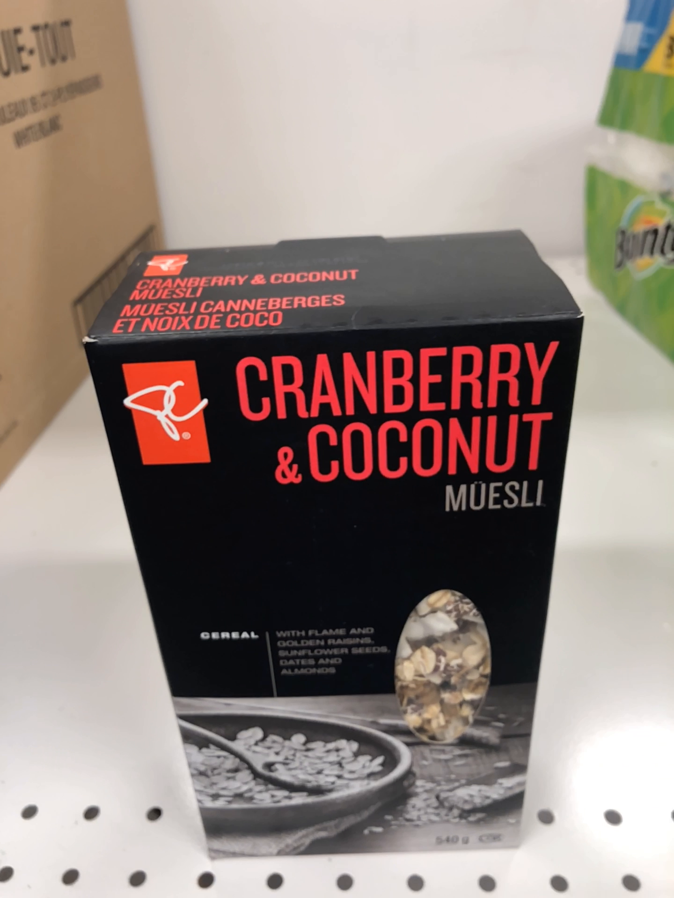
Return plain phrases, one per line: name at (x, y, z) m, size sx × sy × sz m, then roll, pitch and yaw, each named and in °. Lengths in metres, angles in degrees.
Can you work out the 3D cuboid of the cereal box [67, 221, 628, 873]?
cereal box at (0.008, 0.041, 0.243) m, size 0.120 × 0.199 × 0.070 m, roll -3°, pitch 30°, yaw 3°
